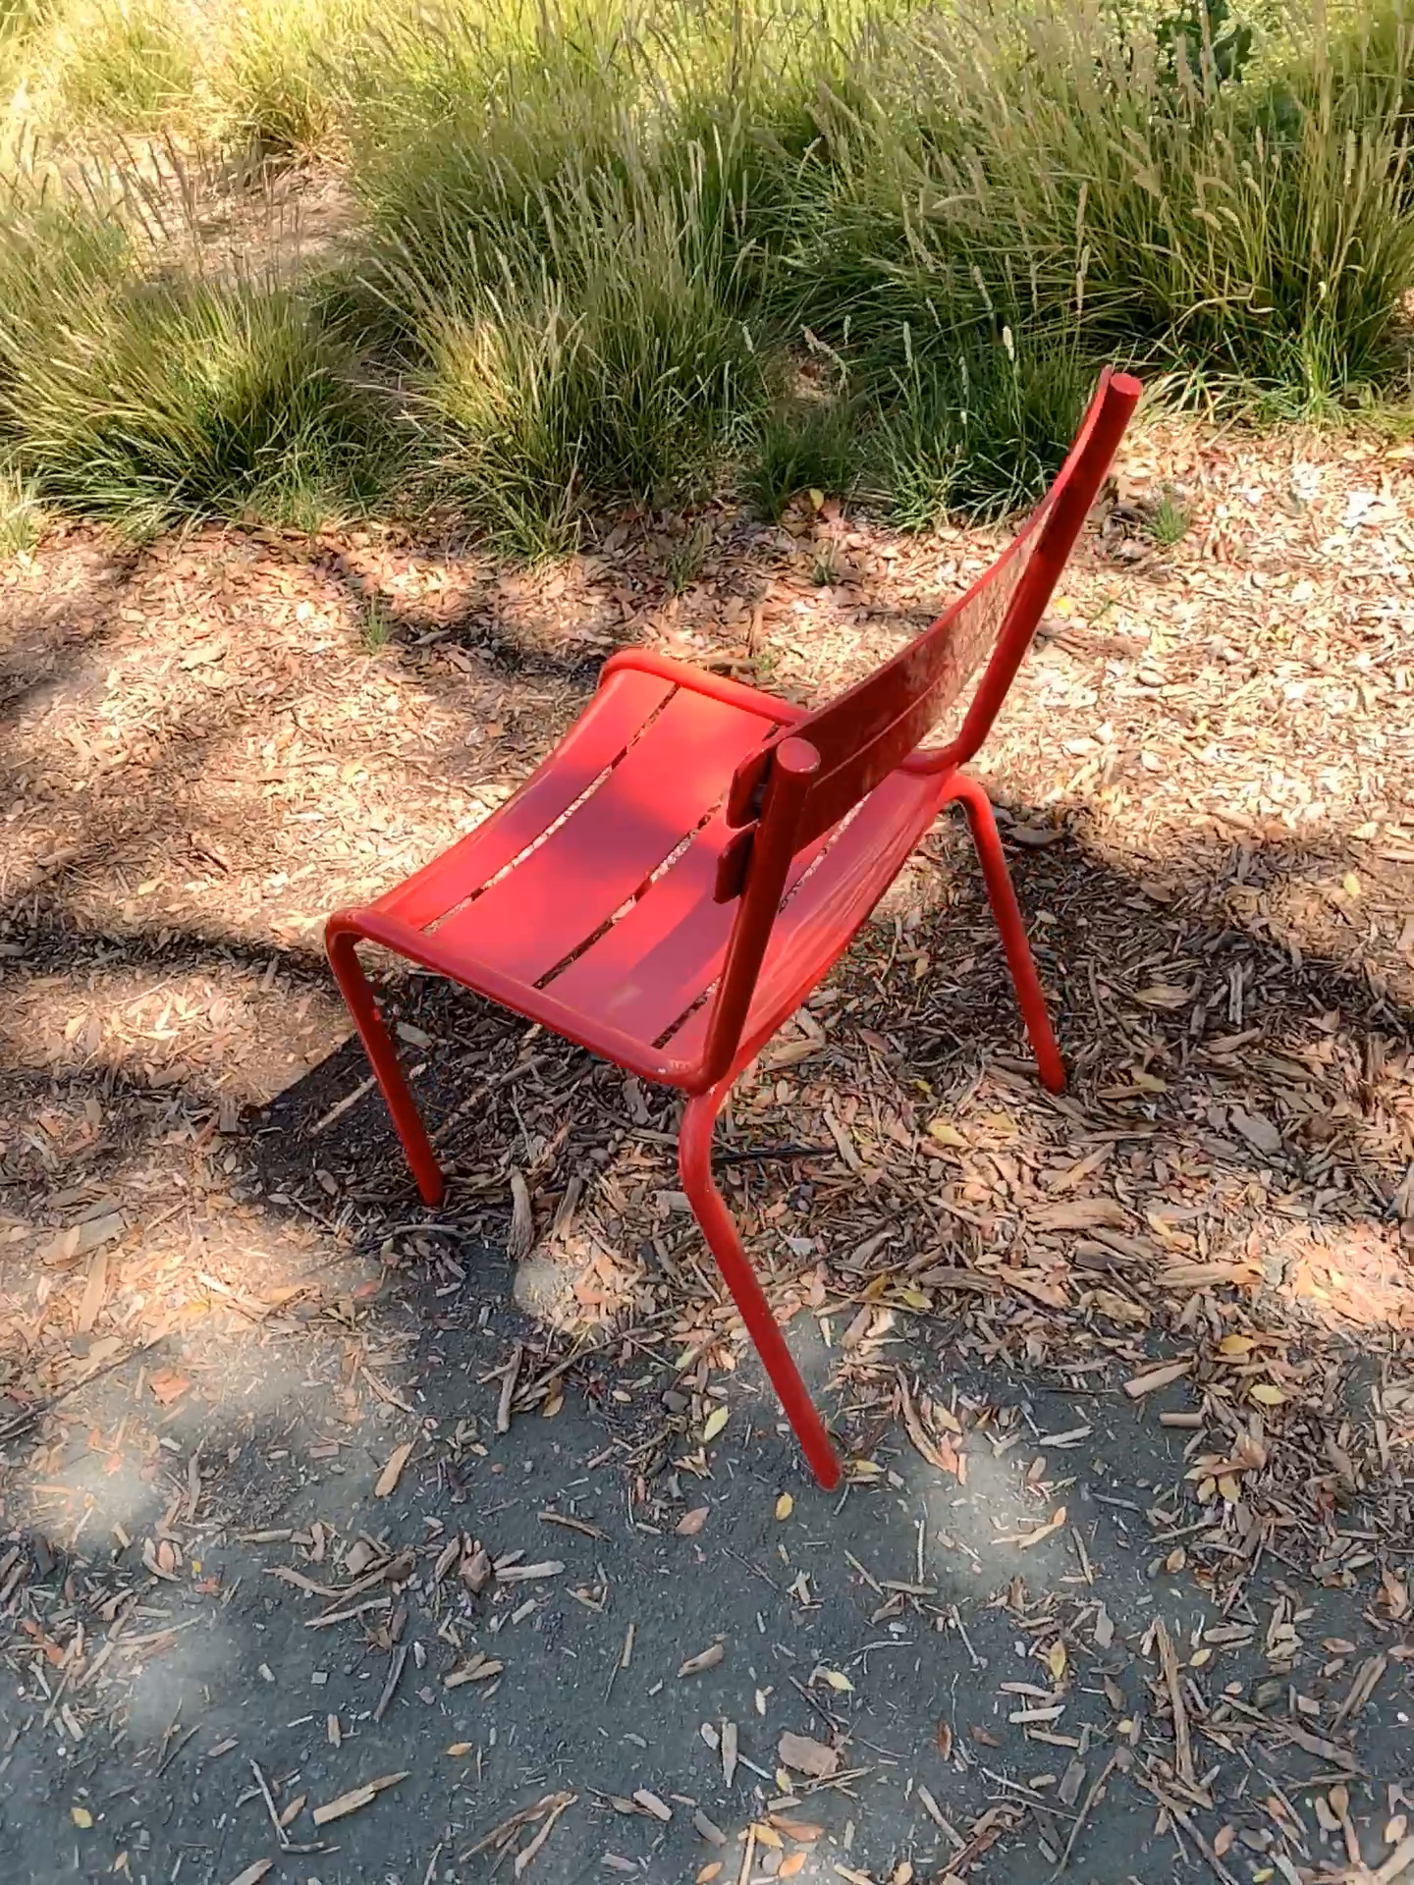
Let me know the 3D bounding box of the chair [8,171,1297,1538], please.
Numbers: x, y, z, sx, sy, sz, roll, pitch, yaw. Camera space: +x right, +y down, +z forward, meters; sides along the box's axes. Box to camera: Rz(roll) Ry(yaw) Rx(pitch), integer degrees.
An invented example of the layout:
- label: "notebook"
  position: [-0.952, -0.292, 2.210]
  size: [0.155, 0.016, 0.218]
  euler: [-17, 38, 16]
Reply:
- label: "chair"
  position: [-0.006, -0.064, 1.209]
  size: [0.571, 0.786, 0.612]
  euler: [26, 53, 21]
